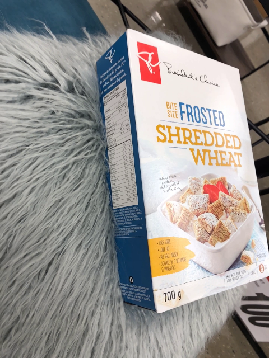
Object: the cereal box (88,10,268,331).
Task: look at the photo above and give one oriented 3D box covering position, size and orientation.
[{"bbox_3d":[0.066,-0.014,0.369,0.201,0.070,0.310,1,75,-40],"label":"cereal box"}]
